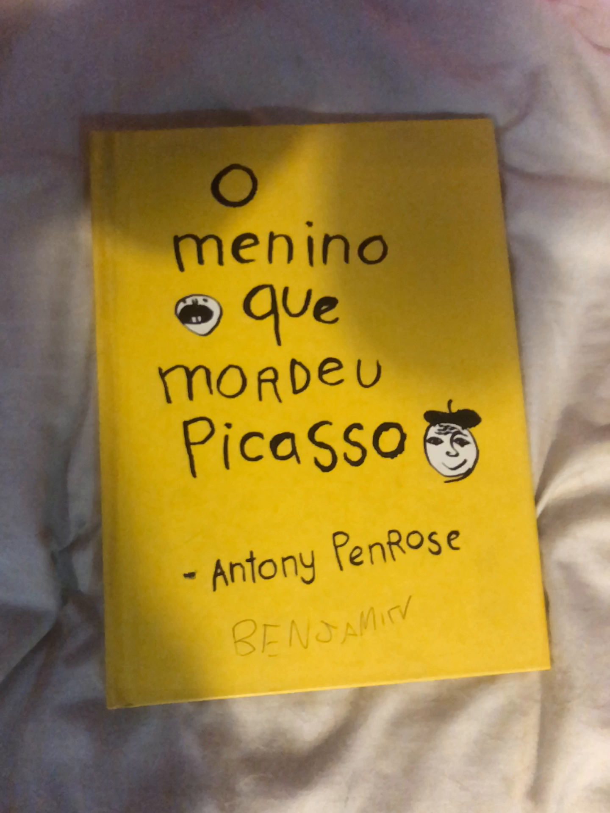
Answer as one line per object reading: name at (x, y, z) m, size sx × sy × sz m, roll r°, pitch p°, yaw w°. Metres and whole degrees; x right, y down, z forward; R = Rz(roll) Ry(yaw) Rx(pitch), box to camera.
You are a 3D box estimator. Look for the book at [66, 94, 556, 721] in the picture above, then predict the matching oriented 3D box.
book at (-0.001, -0.007, 0.281) m, size 0.180 × 0.024 × 0.240 m, roll -3°, pitch 84°, yaw -4°
